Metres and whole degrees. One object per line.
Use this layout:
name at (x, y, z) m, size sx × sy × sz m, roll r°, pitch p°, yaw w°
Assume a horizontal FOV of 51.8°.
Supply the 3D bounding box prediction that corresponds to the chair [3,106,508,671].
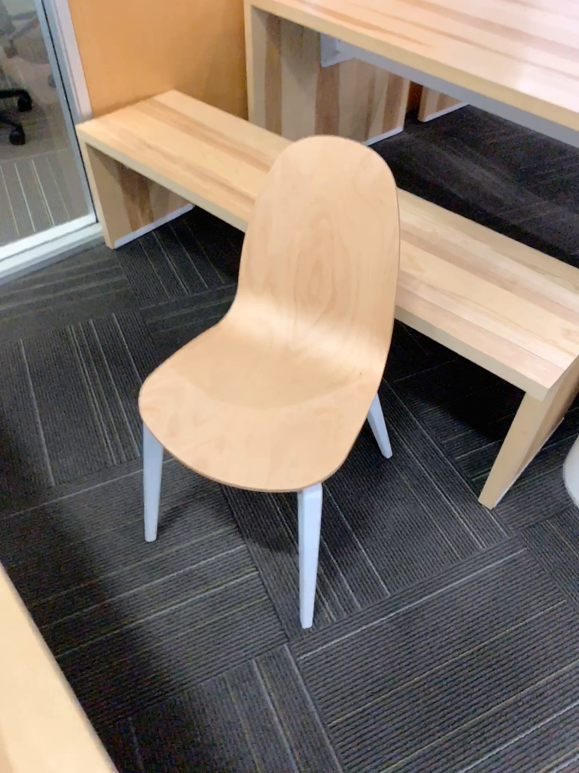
chair at (0.001, 0.005, 1.180) m, size 0.521 × 0.766 × 0.652 m, roll 19°, pitch 50°, yaw 17°
